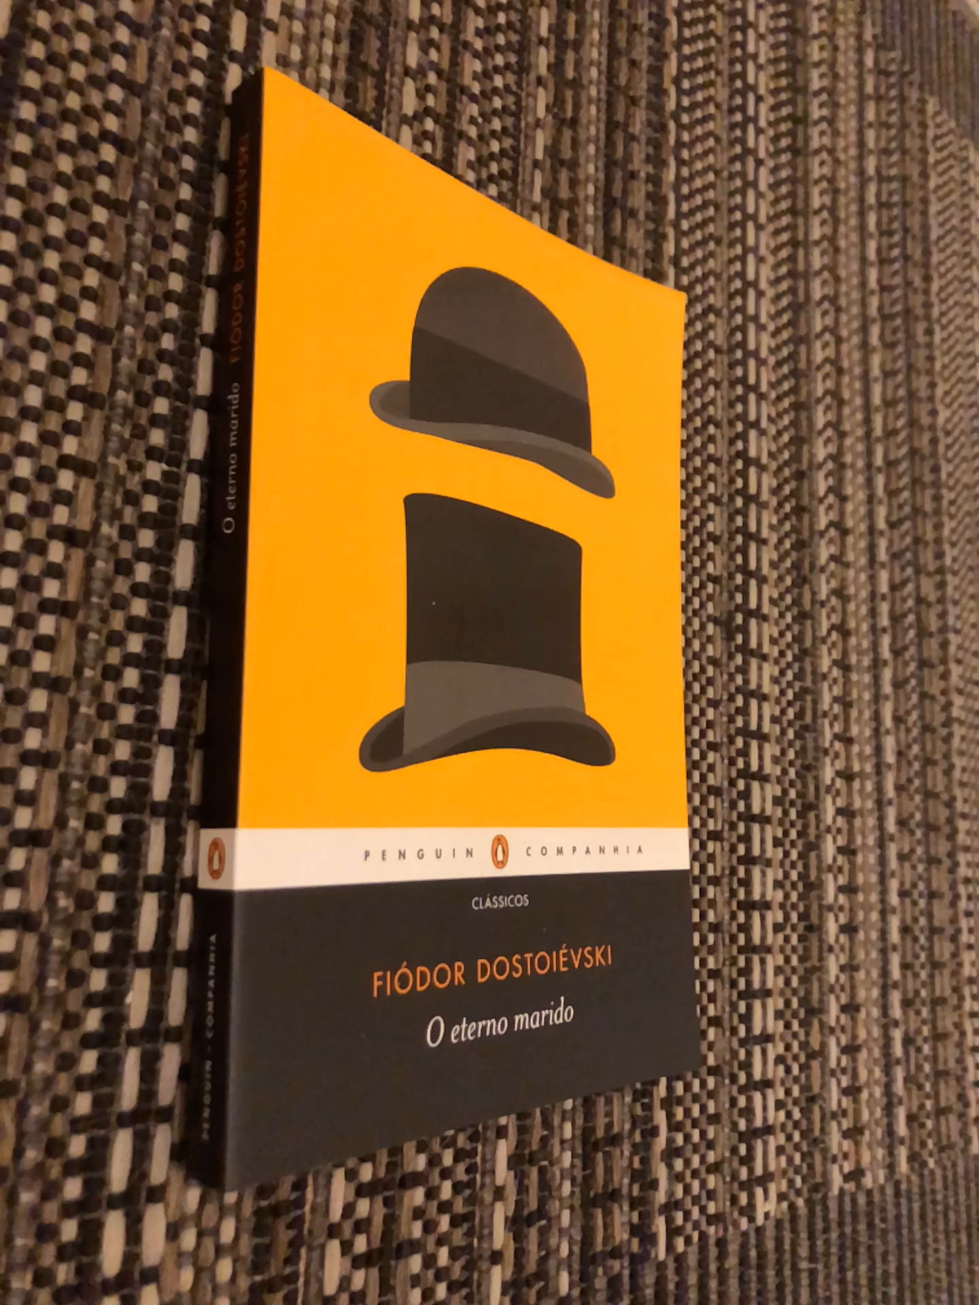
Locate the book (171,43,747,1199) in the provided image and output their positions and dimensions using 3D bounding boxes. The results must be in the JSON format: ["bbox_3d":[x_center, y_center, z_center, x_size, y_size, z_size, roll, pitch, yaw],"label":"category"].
[{"bbox_3d":[0.004,-0.004,0.219,0.131,0.020,0.180,9,76,-45],"label":"book"}]
